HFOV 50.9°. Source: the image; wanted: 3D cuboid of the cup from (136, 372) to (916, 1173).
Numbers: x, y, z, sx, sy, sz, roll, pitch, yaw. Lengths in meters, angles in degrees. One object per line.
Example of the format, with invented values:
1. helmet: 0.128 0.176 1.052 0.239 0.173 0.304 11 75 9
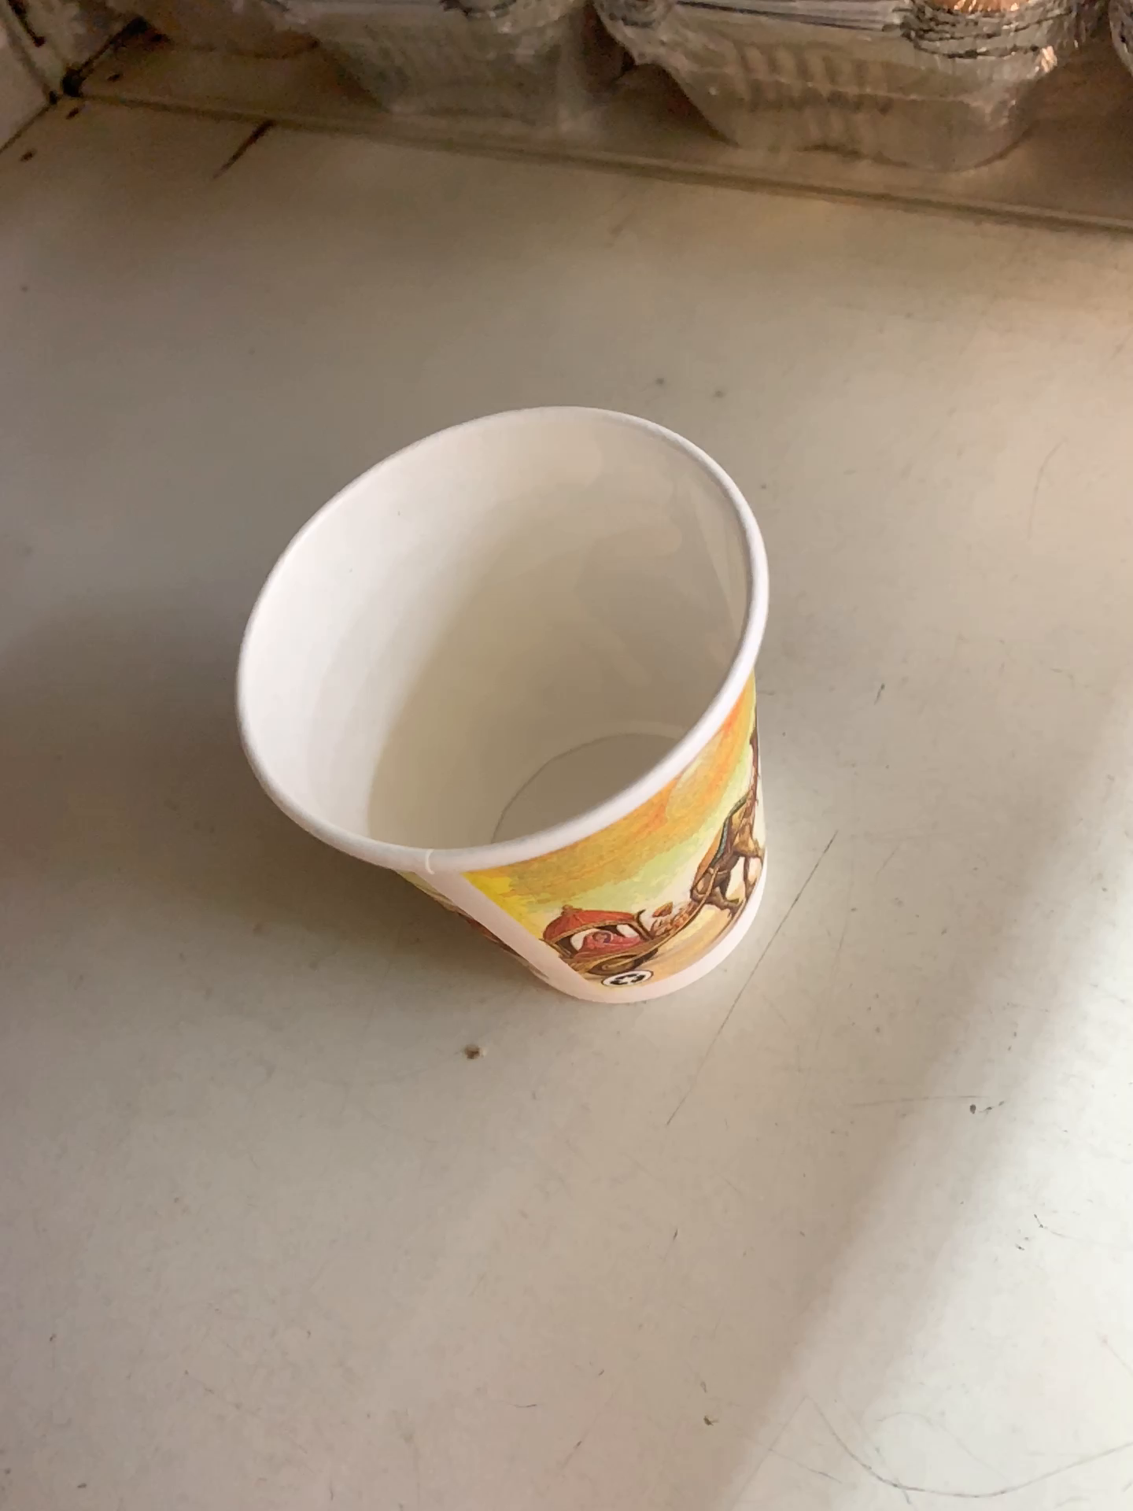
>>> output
1. cup: 0.003 0.004 0.176 0.070 0.080 0.070 -8 56 13
